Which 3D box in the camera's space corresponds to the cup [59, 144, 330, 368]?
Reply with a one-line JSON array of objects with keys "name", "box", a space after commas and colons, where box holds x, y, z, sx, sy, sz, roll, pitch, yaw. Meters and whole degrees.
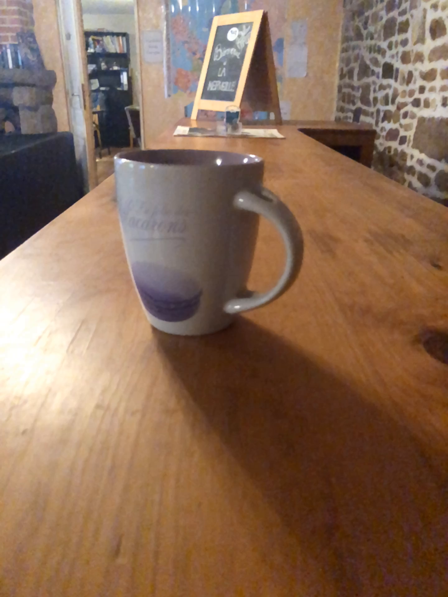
[{"name": "cup", "box": [-0.013, -0.037, 0.299, 0.120, 0.095, 0.101, 12, 27, 28]}]
